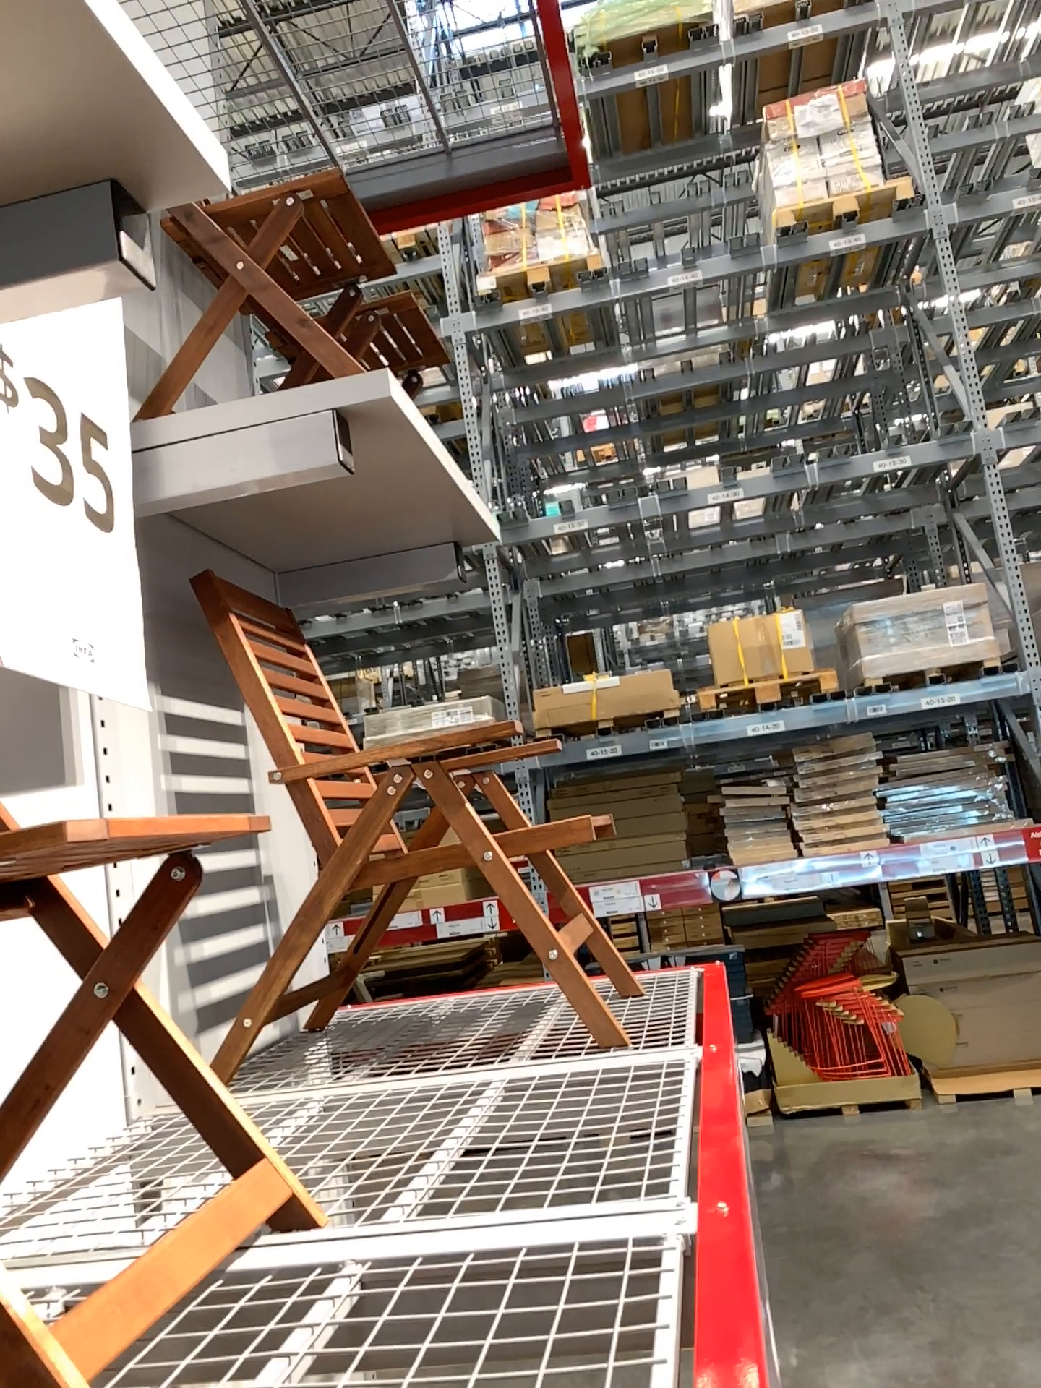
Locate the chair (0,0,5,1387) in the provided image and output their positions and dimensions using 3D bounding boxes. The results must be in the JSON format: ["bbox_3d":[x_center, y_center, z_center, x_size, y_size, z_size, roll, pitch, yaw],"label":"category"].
[{"bbox_3d":[-0.683,0.060,0.345,0.631,0.886,0.614,-10,-8,9],"label":"chair"}]

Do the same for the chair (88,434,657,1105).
[{"bbox_3d":[-0.257,0.160,2.166,0.891,1.056,0.614,-9,-8,8],"label":"chair"}]

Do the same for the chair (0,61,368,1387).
[{"bbox_3d":[-0.580,0.124,0.939,0.631,0.886,0.614,-9,-8,8],"label":"chair"}]
